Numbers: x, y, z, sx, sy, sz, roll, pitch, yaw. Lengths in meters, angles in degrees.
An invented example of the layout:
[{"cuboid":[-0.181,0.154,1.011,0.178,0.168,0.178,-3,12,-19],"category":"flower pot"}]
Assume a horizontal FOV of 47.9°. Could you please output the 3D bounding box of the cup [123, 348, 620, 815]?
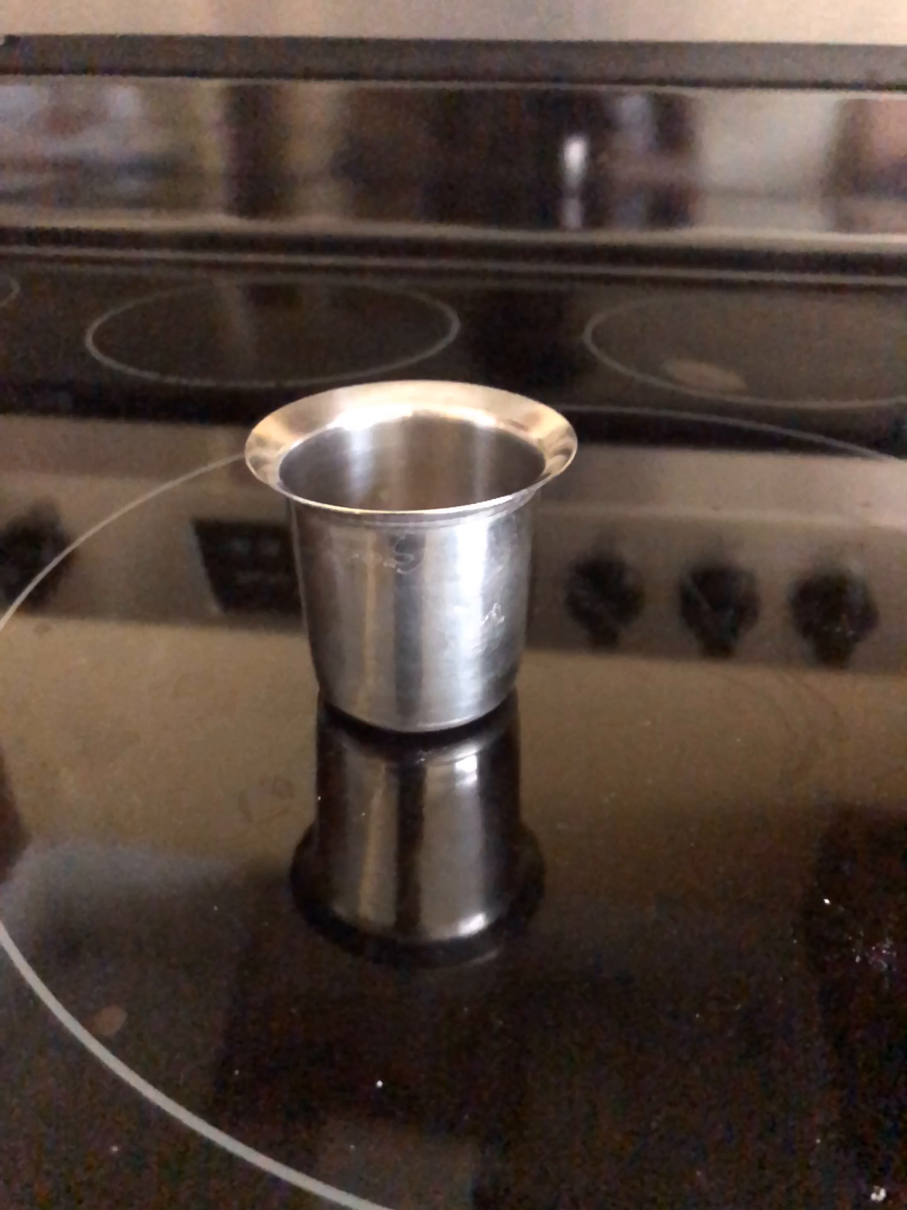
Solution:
[{"cuboid":[-0.012,-0.011,0.208,0.066,0.056,0.073,0,30,0],"category":"cup"}]
